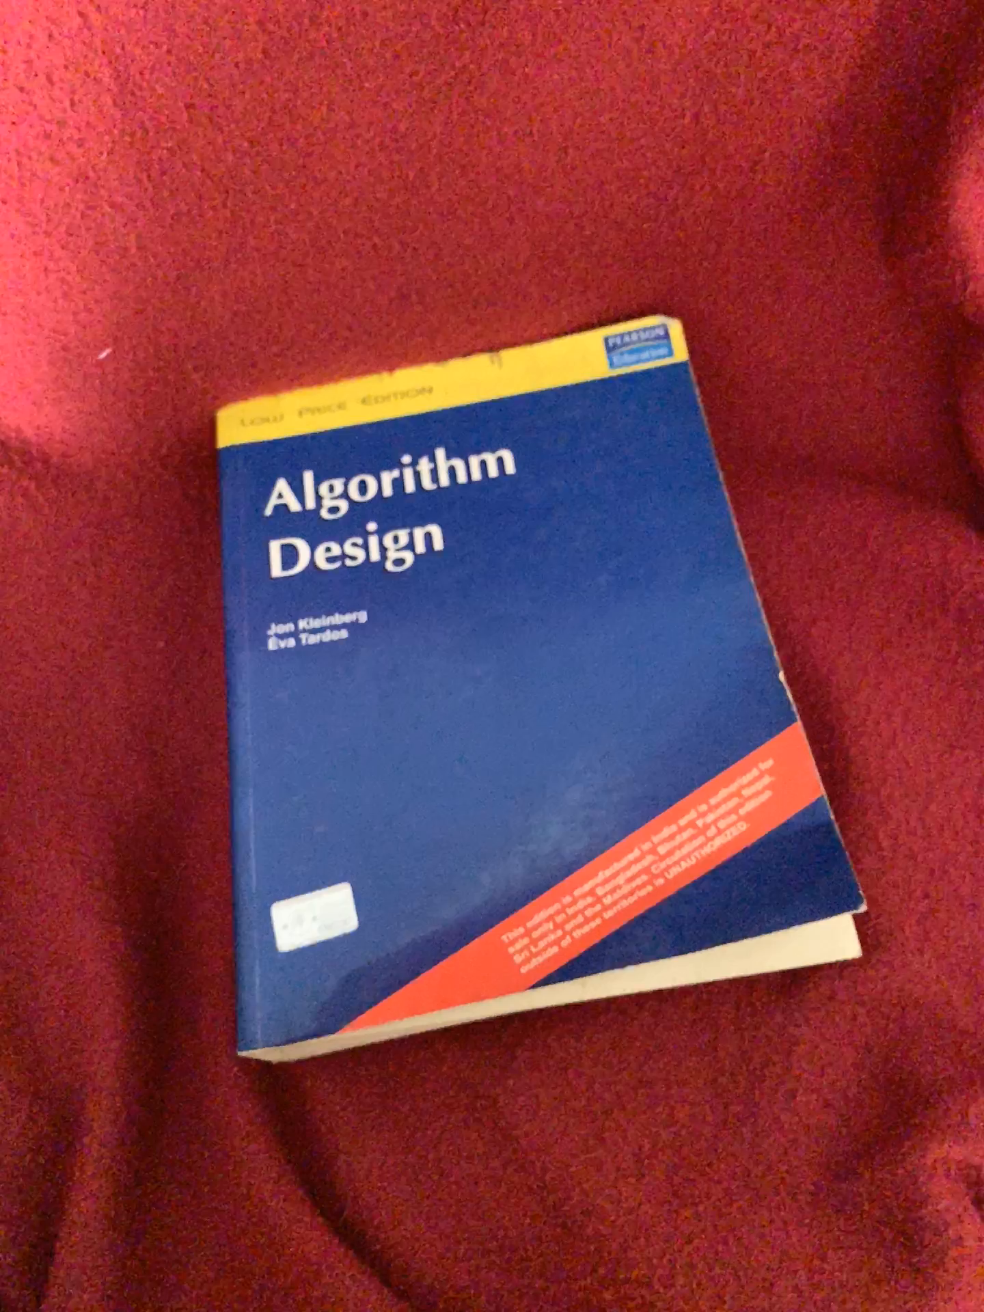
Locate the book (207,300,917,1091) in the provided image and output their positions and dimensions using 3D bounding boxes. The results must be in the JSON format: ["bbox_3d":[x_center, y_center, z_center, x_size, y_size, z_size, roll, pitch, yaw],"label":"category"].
[{"bbox_3d":[0.007,0.003,0.368,0.190,0.060,0.251,-10,65,-1],"label":"book"}]
